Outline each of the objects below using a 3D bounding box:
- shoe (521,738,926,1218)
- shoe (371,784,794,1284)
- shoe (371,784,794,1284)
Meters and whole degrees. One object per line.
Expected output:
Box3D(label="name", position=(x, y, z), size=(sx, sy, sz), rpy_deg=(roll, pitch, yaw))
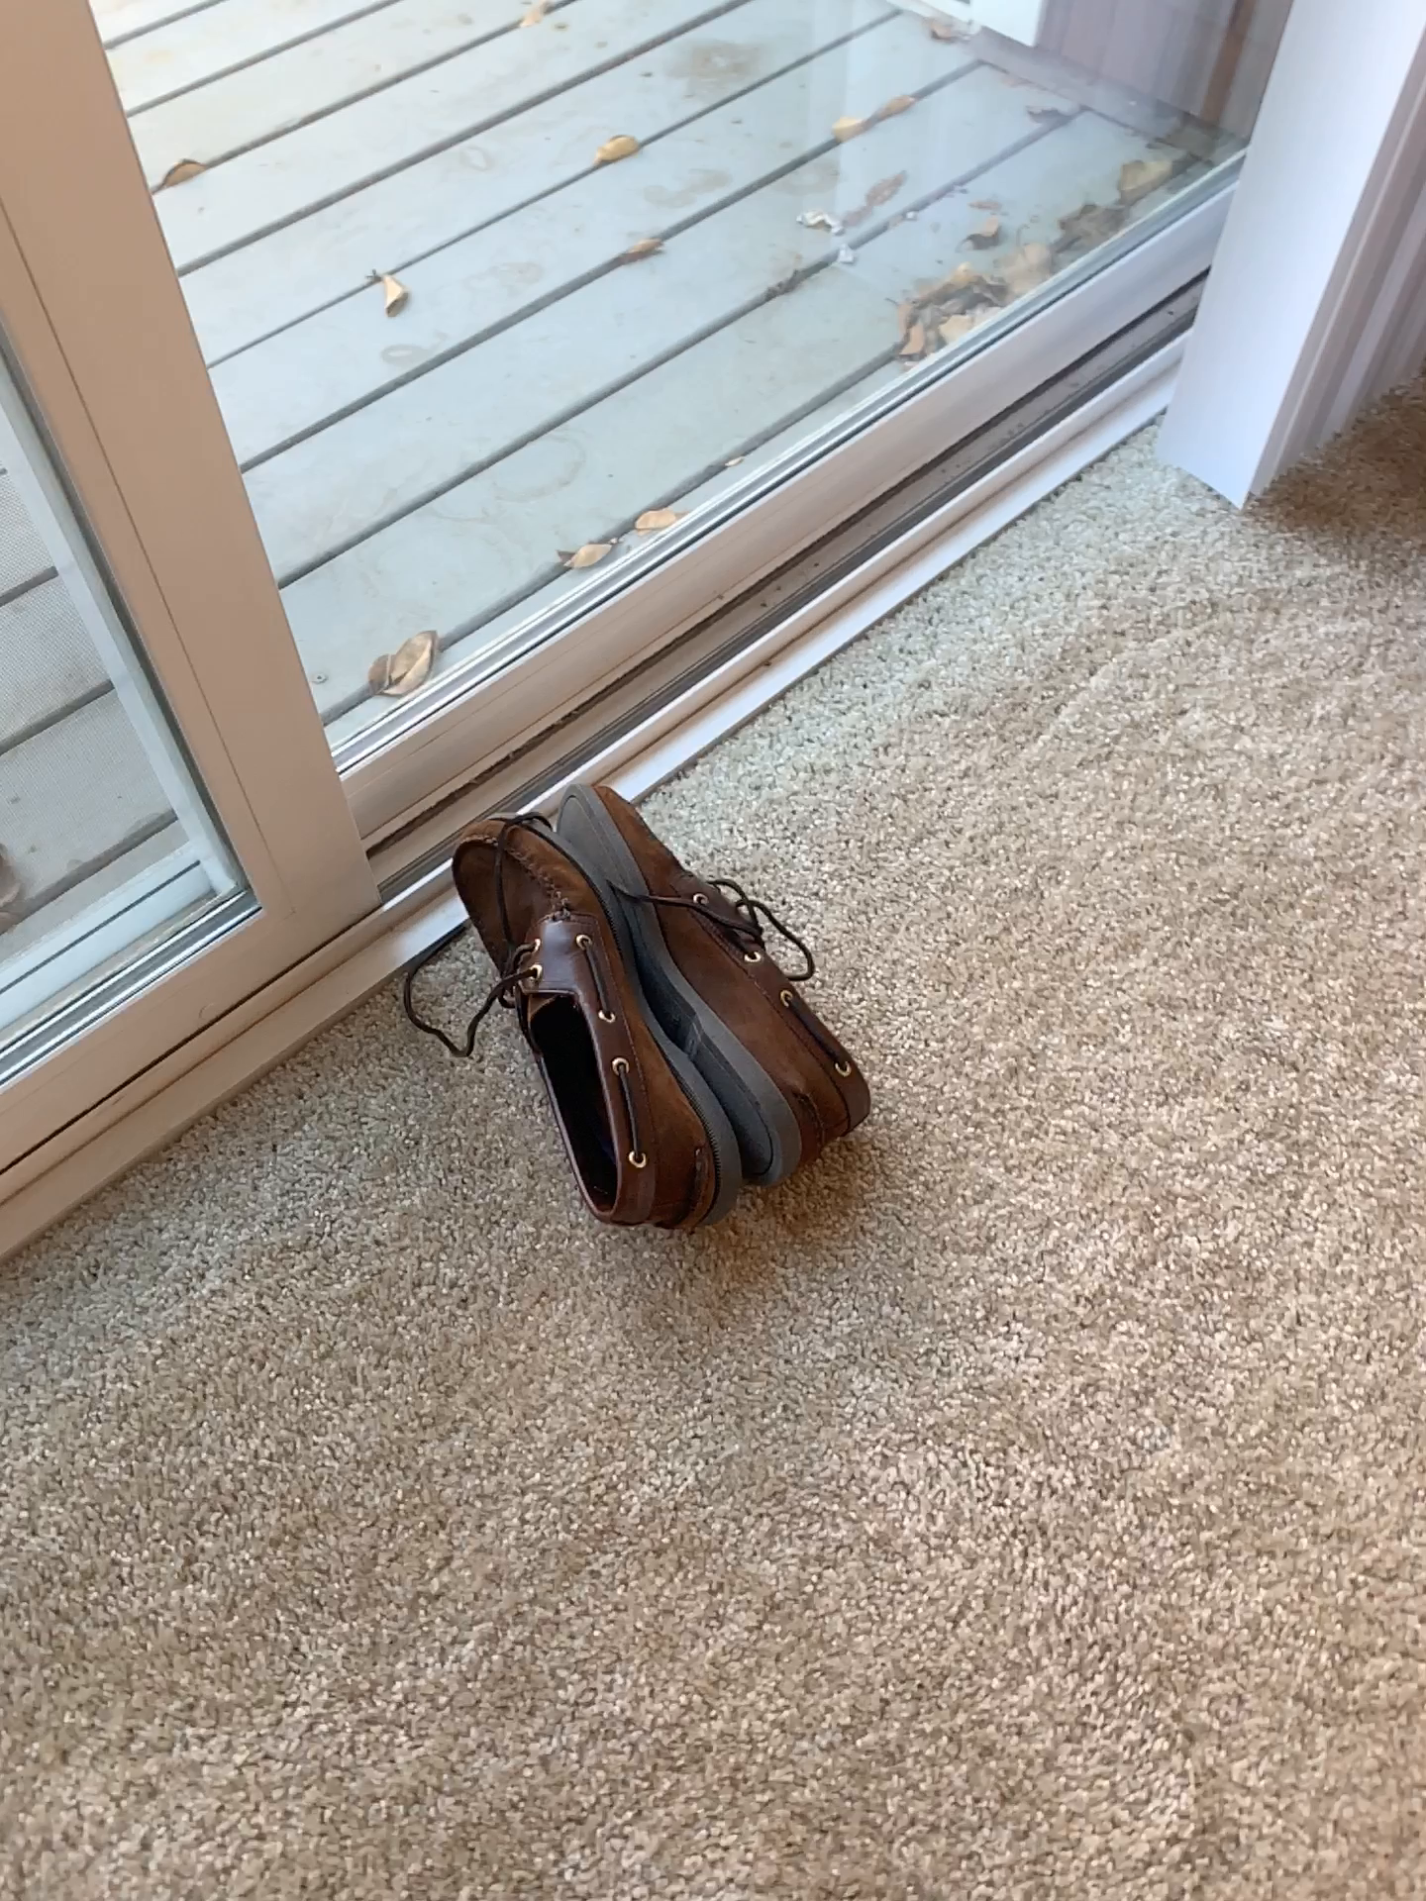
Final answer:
Box3D(label="shoe", position=(-0.005, 0.010, 0.883), size=(0.090, 0.110, 0.271), rpy_deg=(-22, 59, -29))
Box3D(label="shoe", position=(-0.088, 0.040, 0.863), size=(0.090, 0.110, 0.281), rpy_deg=(-18, 56, -37))
Box3D(label="shoe", position=(-0.088, 0.040, 0.863), size=(0.090, 0.110, 0.281), rpy_deg=(-18, 56, -37))
